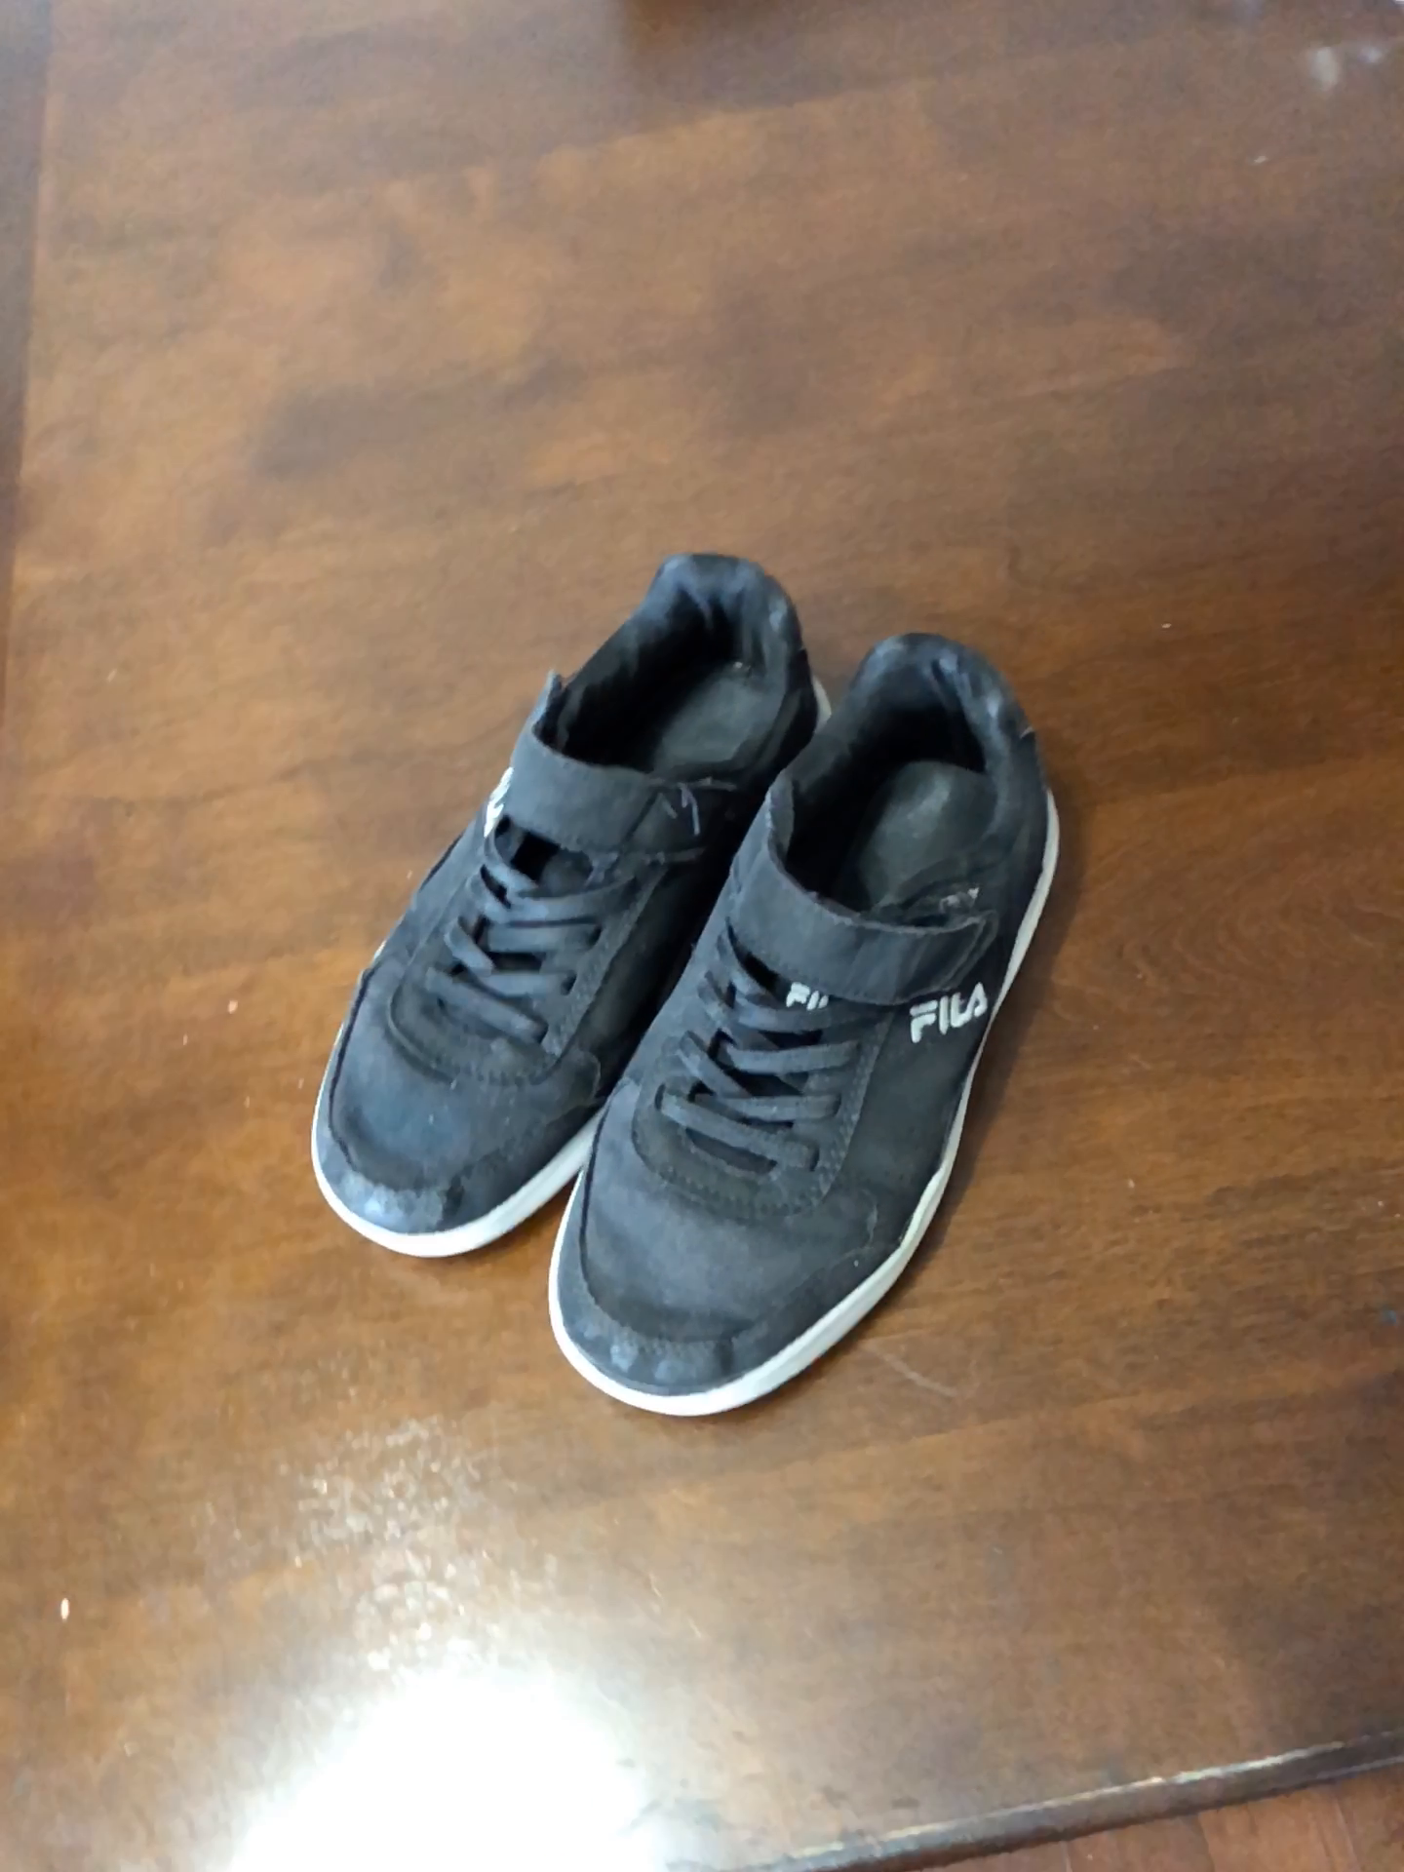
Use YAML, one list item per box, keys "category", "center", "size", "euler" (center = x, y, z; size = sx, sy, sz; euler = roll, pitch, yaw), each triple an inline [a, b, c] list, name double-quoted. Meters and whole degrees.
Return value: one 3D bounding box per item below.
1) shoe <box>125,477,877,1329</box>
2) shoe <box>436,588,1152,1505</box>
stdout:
- category: "shoe"
  center: [-0.041, -0.015, 0.432]
  size: [0.090, 0.080, 0.210]
  euler: [26, 66, 19]
- category: "shoe"
  center: [0.033, 0.023, 0.409]
  size: [0.090, 0.080, 0.210]
  euler: [22, 65, 17]
